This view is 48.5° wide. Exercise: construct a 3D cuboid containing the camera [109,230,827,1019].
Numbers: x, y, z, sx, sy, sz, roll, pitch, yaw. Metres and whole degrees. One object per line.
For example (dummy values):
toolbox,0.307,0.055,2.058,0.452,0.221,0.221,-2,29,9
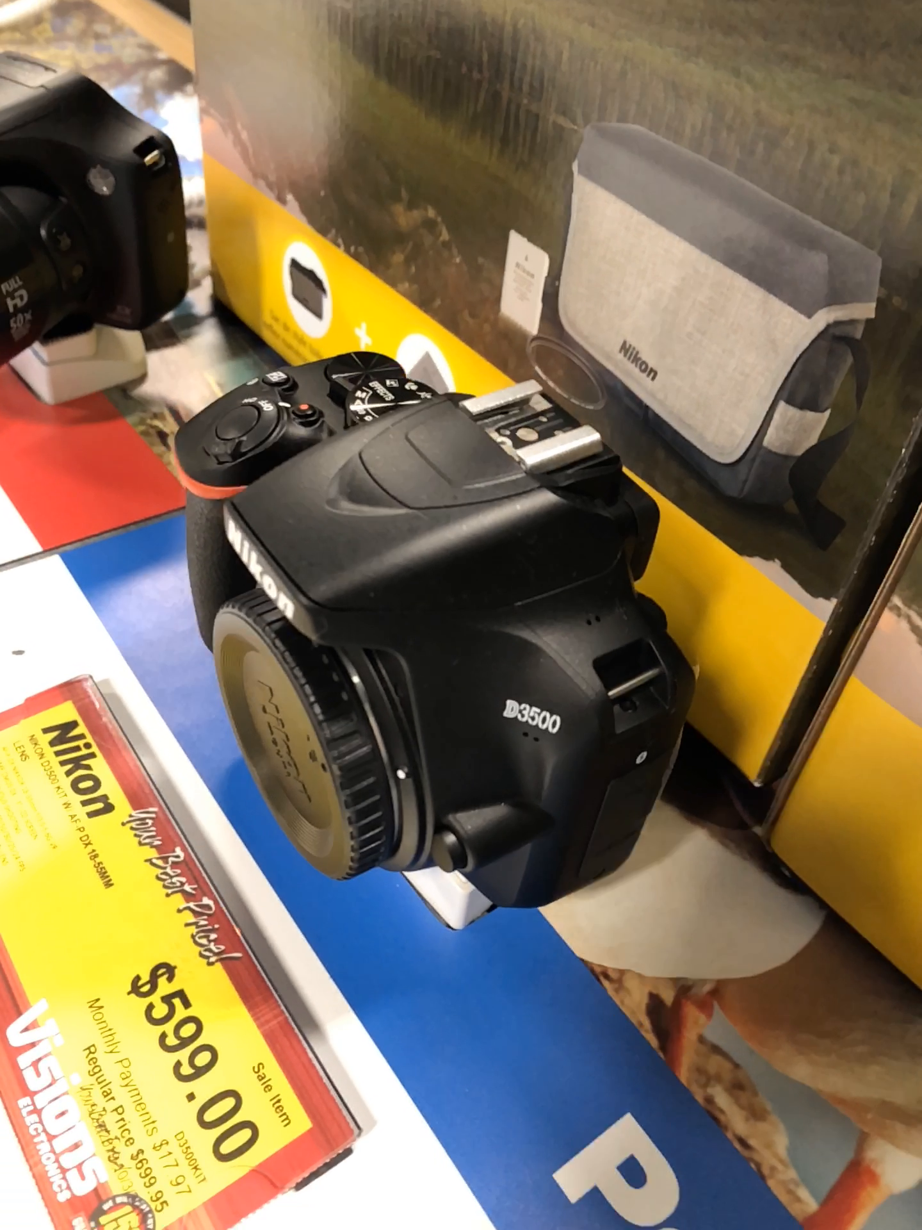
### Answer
camera,-0.009,-0.005,0.223,0.080,0.099,0.121,-21,50,-28
